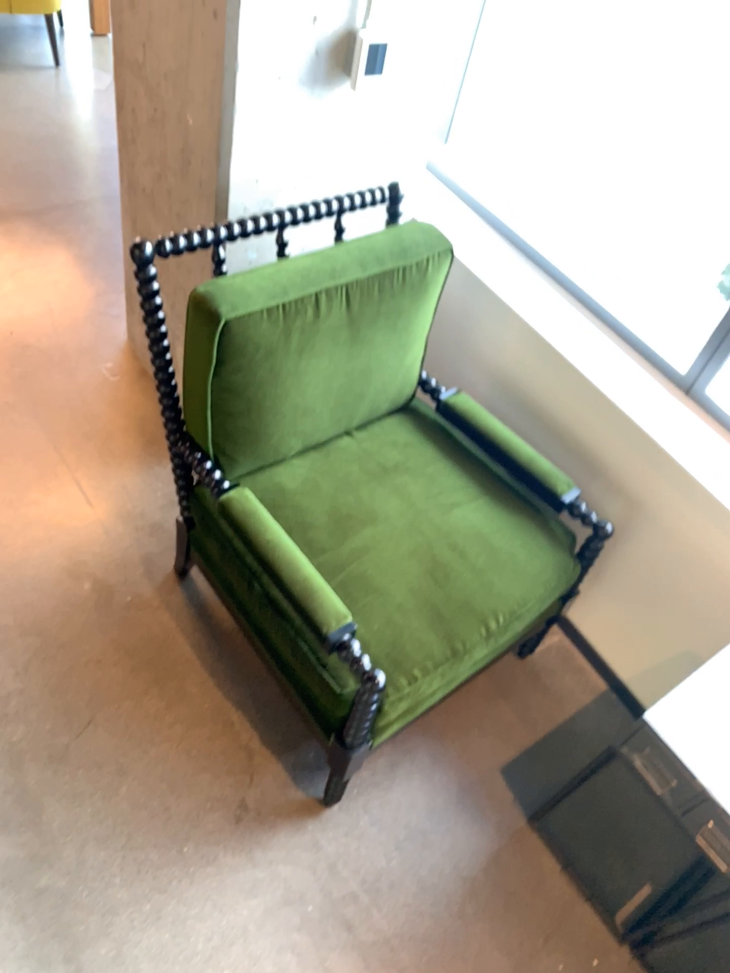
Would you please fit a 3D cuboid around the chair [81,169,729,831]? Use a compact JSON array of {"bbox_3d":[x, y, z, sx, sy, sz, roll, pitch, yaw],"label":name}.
[{"bbox_3d":[0.004,0.002,1.736,0.842,0.925,0.913,-27,61,-32],"label":"chair"}]
